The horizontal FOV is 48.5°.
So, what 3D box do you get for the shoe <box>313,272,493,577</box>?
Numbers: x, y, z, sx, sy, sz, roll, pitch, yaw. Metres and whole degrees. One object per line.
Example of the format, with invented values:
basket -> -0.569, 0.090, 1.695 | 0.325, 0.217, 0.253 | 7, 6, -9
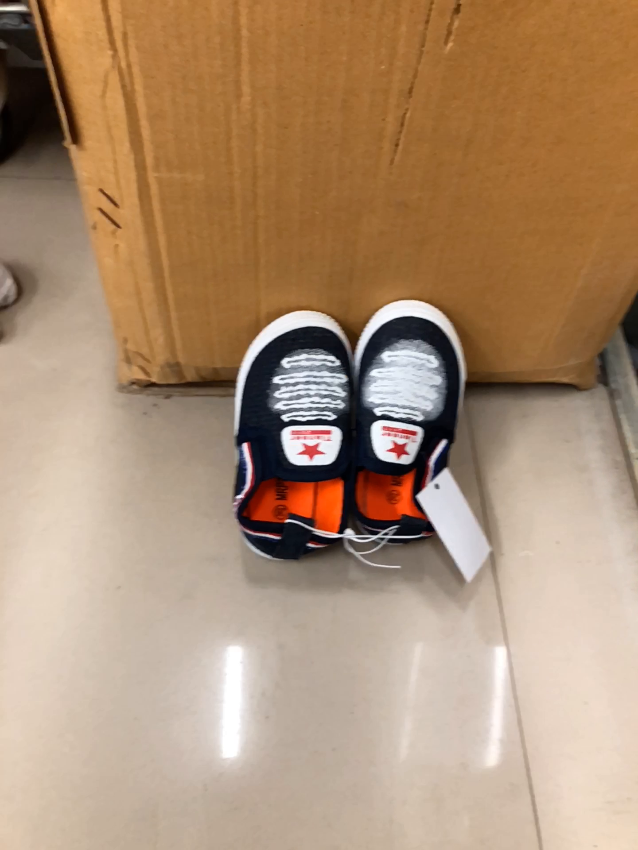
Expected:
shoe -> 0.046, -0.003, 0.426 | 0.080, 0.159, 0.081 | 6, 18, 2
